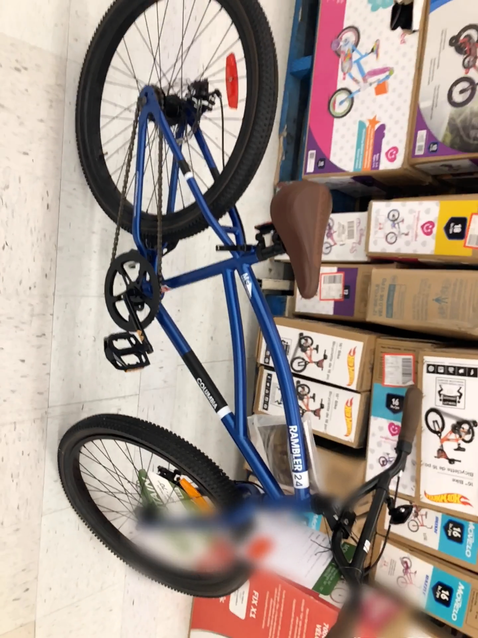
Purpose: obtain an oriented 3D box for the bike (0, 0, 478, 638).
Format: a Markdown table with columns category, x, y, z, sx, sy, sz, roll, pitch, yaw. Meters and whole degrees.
| category | x | y | z | sx | sy | sz | roll | pitch | yaw |
| --- | --- | --- | --- | --- | --- | --- | --- | --- | --- |
| bike | 0.007 | 0.014 | 1.225 | 0.652 | 0.929 | 1.552 | -11 | 105 | -47 |
